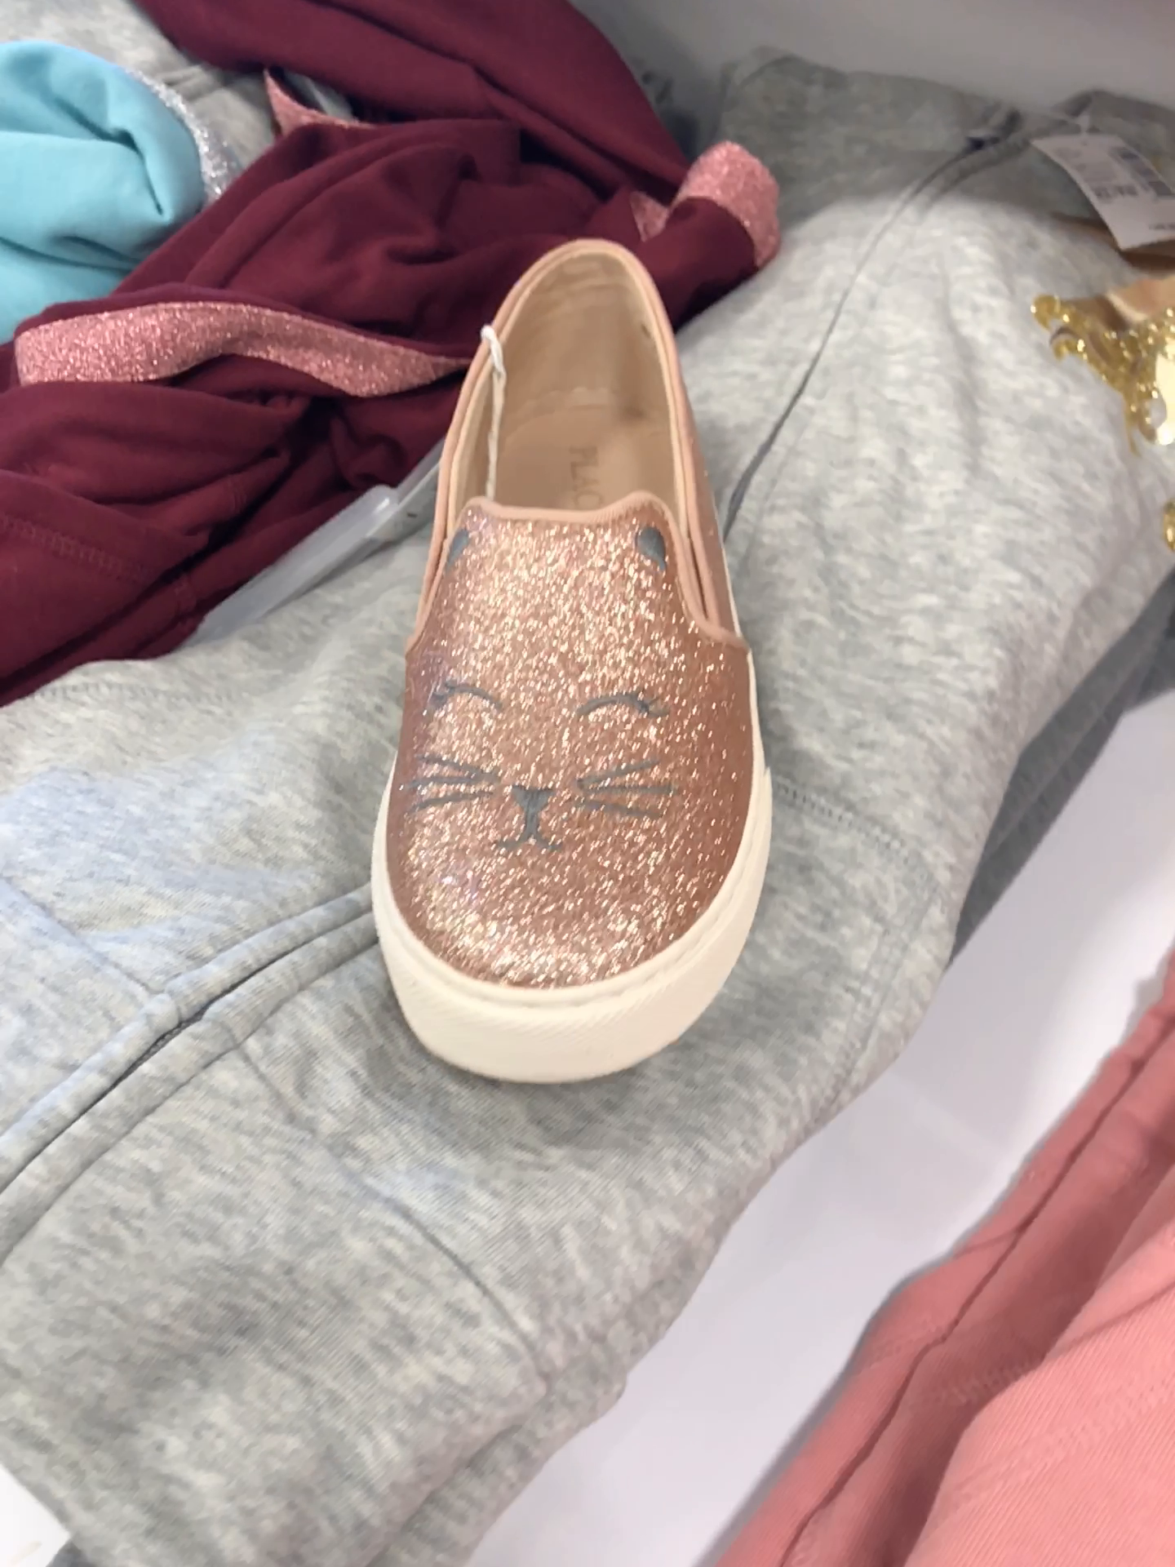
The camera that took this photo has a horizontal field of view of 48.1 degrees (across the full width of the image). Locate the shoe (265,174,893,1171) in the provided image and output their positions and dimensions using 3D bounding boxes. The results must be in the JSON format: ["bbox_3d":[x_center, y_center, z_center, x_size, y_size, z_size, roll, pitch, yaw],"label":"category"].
[{"bbox_3d":[0.004,-0.040,0.290,0.090,0.080,0.221,5,49,0],"label":"shoe"}]
